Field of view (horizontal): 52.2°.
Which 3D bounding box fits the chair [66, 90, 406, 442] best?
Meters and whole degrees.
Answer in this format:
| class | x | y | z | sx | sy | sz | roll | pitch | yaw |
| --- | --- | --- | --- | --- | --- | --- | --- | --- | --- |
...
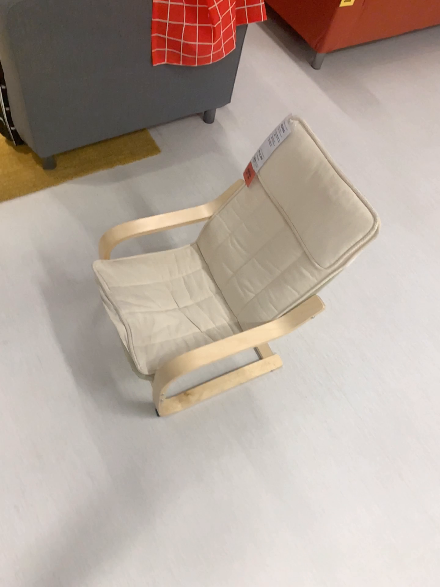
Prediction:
| class | x | y | z | sx | sy | sz | roll | pitch | yaw |
| --- | --- | --- | --- | --- | --- | --- | --- | --- | --- |
| chair | -0.032 | -0.021 | 1.258 | 0.540 | 0.798 | 0.490 | -20 | 65 | -21 |
